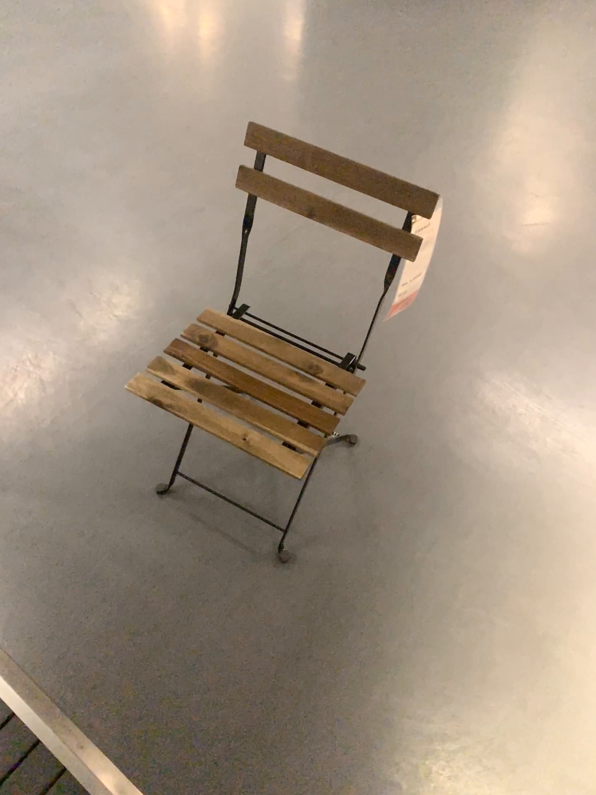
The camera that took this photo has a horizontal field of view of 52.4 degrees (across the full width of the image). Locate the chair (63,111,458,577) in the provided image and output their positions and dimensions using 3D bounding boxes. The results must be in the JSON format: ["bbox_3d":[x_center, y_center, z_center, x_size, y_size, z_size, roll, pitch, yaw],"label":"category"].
[{"bbox_3d":[-0.057,-0.073,1.241,0.430,0.698,0.501,26,56,13],"label":"chair"}]
